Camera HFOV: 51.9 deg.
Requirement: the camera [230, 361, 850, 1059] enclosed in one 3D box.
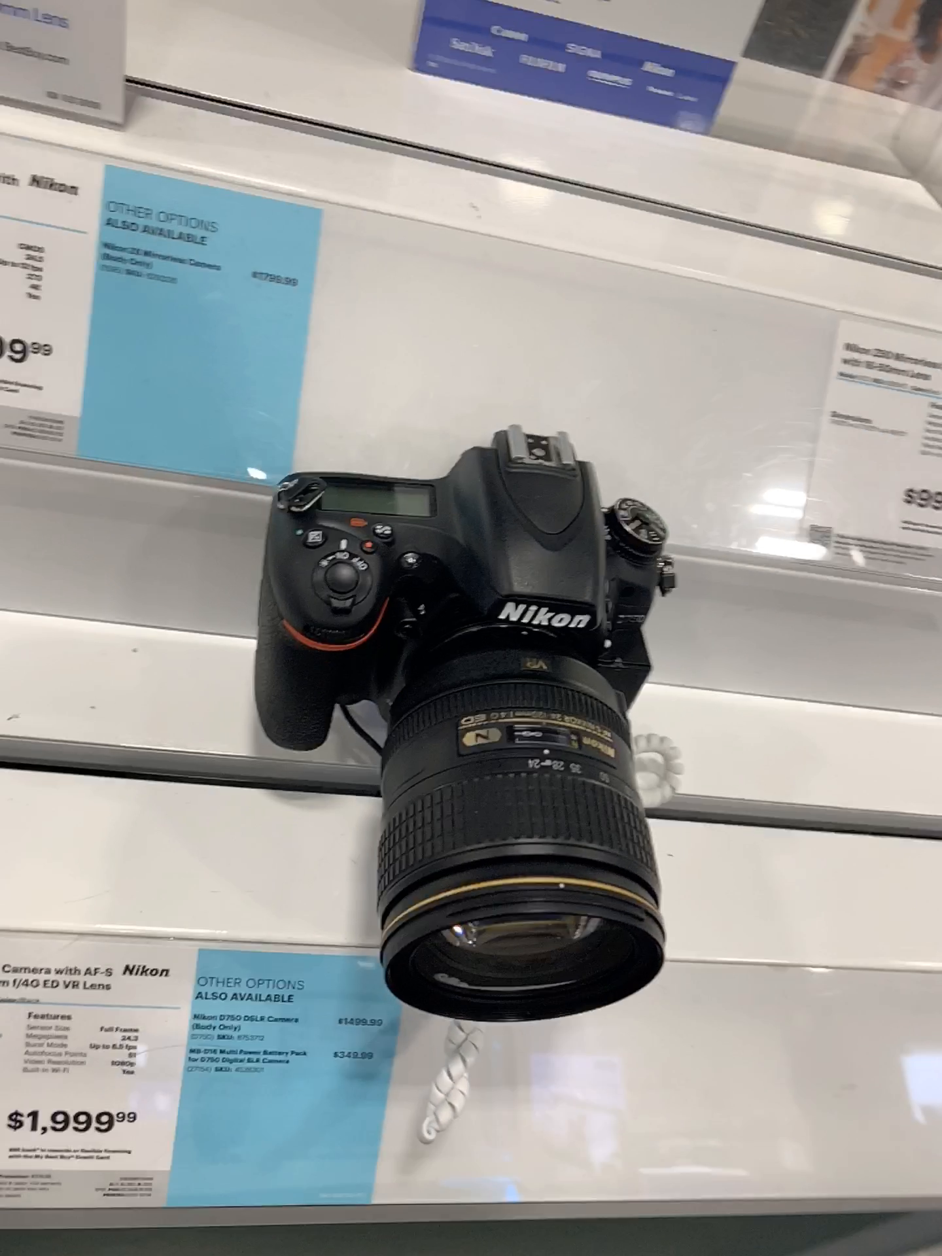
[{"bbox_3d":[0.000,0.023,0.313,0.140,0.111,0.181,3,49,-15],"label":"camera"}]
